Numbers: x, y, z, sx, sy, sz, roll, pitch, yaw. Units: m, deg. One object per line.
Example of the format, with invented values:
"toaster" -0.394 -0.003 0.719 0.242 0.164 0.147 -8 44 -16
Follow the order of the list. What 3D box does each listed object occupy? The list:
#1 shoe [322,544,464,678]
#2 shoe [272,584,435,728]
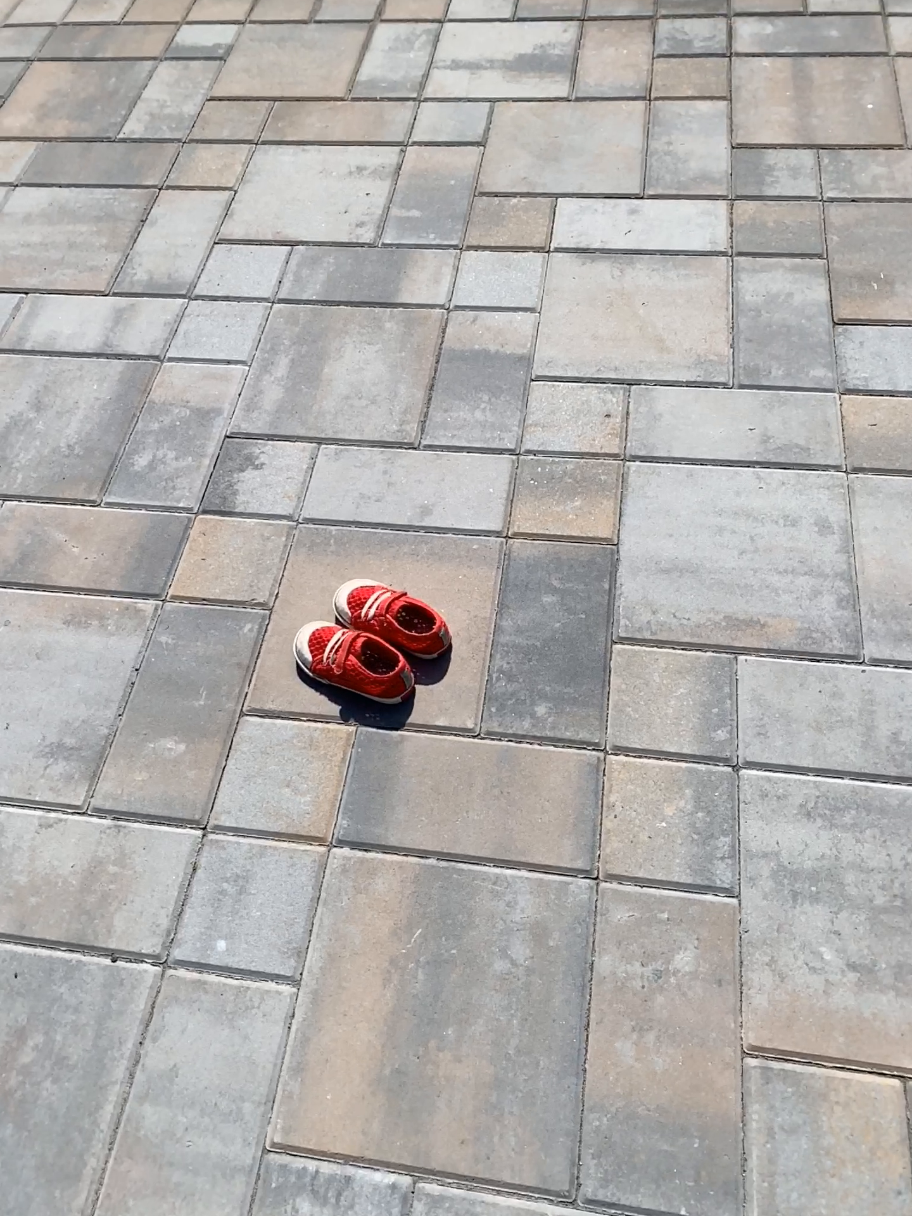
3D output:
"shoe" -0.079 0.004 1.198 0.160 0.100 0.070 27 64 20
"shoe" -0.127 0.060 1.183 0.170 0.100 0.090 22 62 17
